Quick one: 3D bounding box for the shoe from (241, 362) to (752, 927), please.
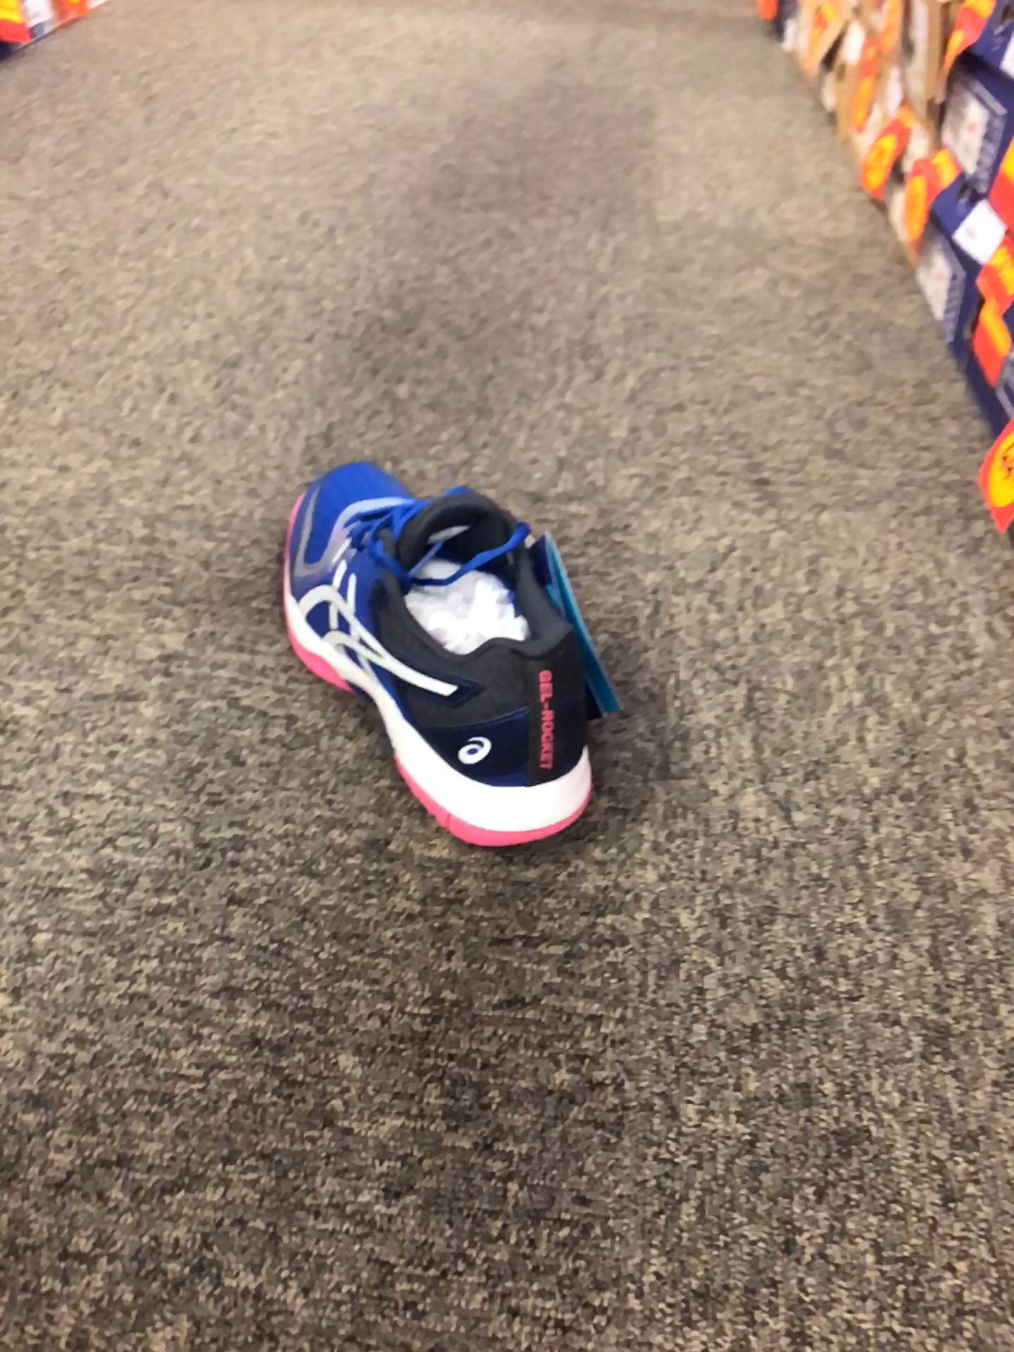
[{"bbox_3d":[-0.022,-0.035,0.528,0.125,0.099,0.271,-16,44,-20],"label":"shoe"}]
